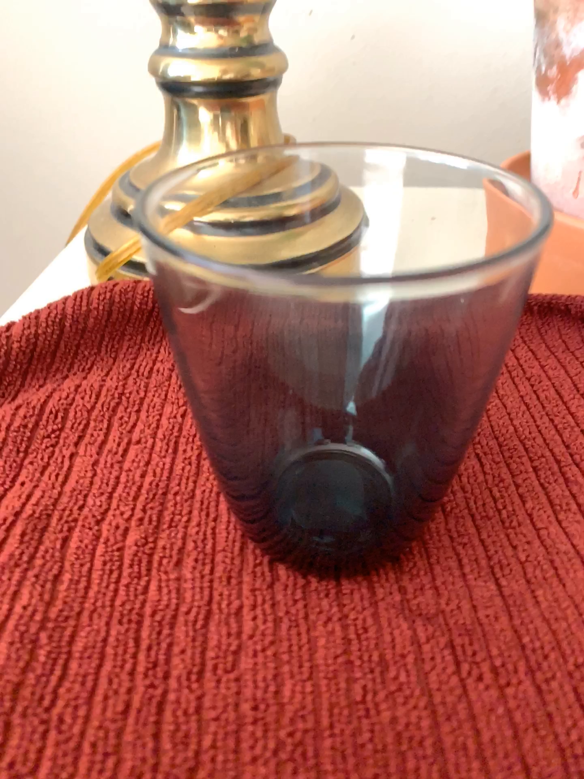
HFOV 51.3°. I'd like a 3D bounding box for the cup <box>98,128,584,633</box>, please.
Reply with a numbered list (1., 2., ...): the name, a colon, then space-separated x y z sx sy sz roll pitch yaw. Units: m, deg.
1. cup: 0.009 -0.013 0.143 0.086 0.070 0.084 0 34 0
